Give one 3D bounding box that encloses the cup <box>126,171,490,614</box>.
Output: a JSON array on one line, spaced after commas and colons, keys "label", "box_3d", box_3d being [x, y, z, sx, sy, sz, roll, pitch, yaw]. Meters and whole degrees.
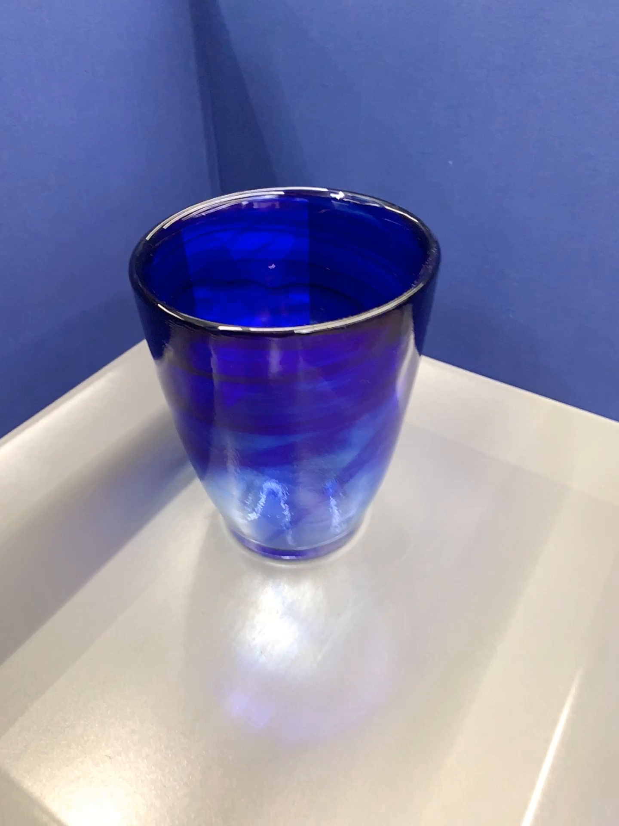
[{"label": "cup", "box_3d": [-0.006, -0.009, 0.219, 0.087, 0.111, 0.082, -1, 38, 0]}]
